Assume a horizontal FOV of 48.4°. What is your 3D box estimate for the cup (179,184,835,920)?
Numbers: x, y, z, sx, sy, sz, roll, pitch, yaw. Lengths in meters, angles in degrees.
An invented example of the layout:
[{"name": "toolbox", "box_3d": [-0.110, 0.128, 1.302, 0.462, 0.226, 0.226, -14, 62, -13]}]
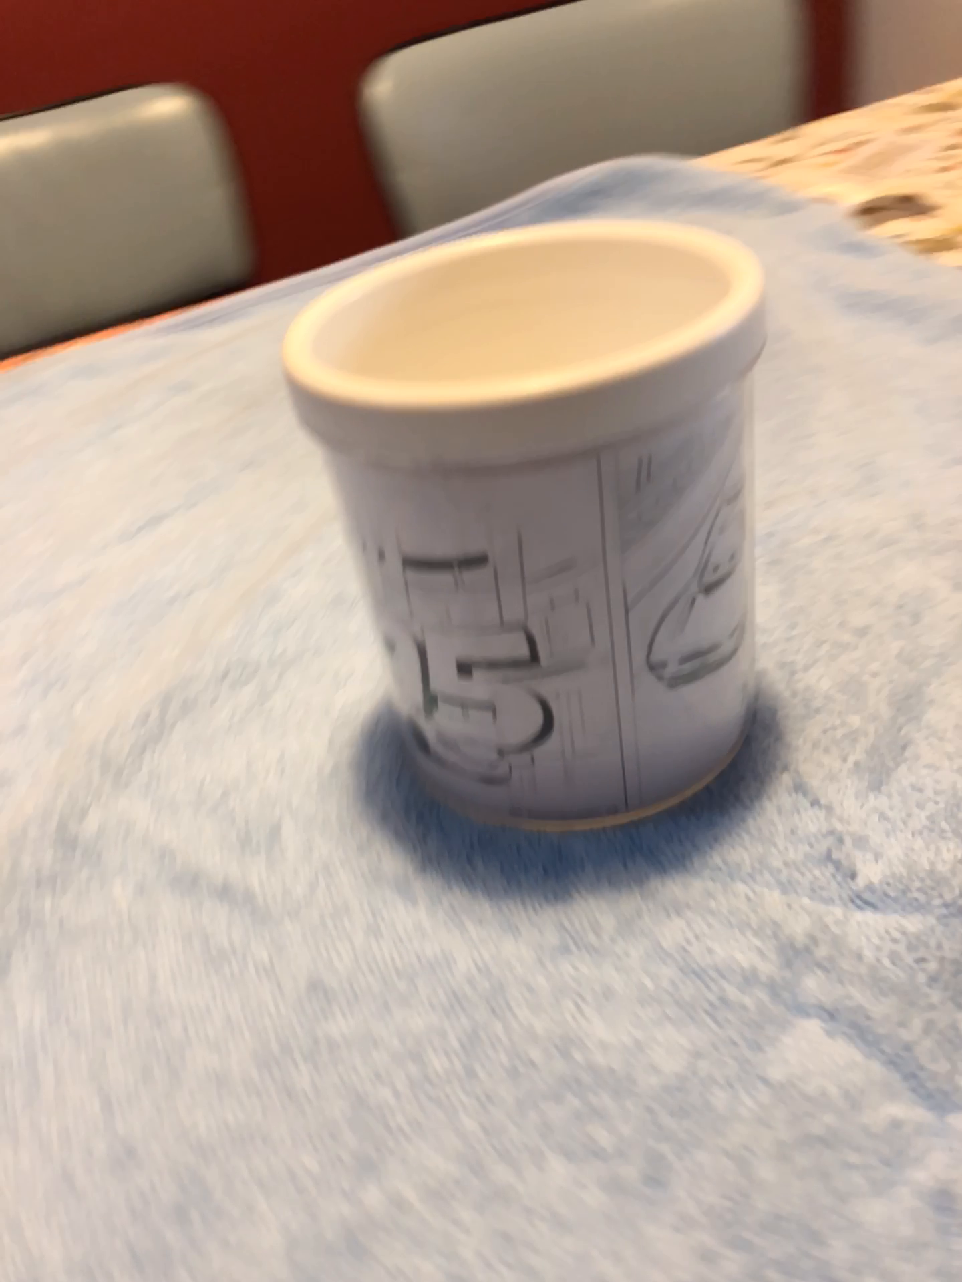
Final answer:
[{"name": "cup", "box_3d": [0.021, -0.028, 0.234, 0.090, 0.099, 0.121, 6, 39, 24]}]
